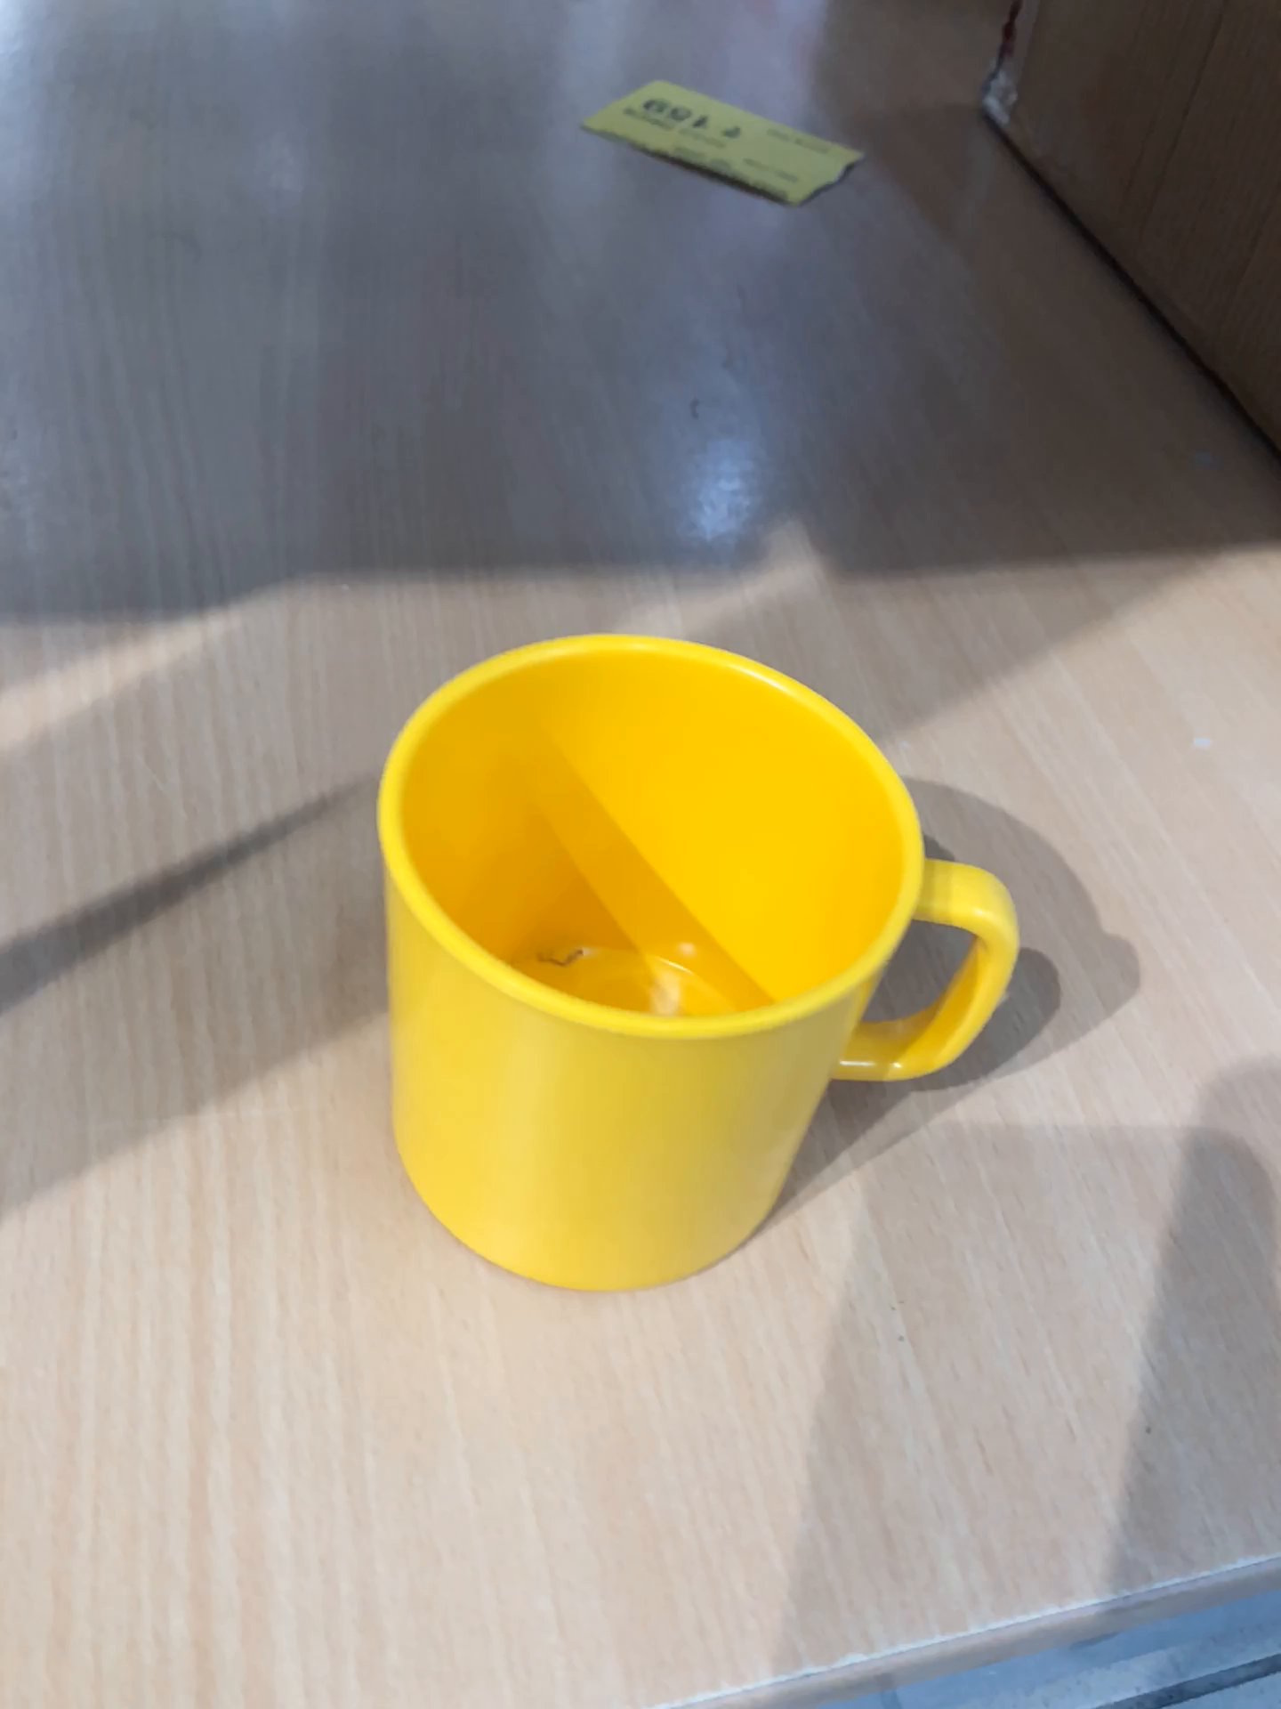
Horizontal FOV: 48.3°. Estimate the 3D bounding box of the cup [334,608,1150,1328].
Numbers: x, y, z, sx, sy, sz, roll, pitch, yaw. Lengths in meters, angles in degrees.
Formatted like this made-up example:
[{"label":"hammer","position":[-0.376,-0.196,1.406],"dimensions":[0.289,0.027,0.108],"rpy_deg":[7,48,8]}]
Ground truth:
[{"label":"cup","position":[0.008,0.023,0.249],"dimensions":[0.110,0.089,0.081],"rpy_deg":[4,47,-7]}]
